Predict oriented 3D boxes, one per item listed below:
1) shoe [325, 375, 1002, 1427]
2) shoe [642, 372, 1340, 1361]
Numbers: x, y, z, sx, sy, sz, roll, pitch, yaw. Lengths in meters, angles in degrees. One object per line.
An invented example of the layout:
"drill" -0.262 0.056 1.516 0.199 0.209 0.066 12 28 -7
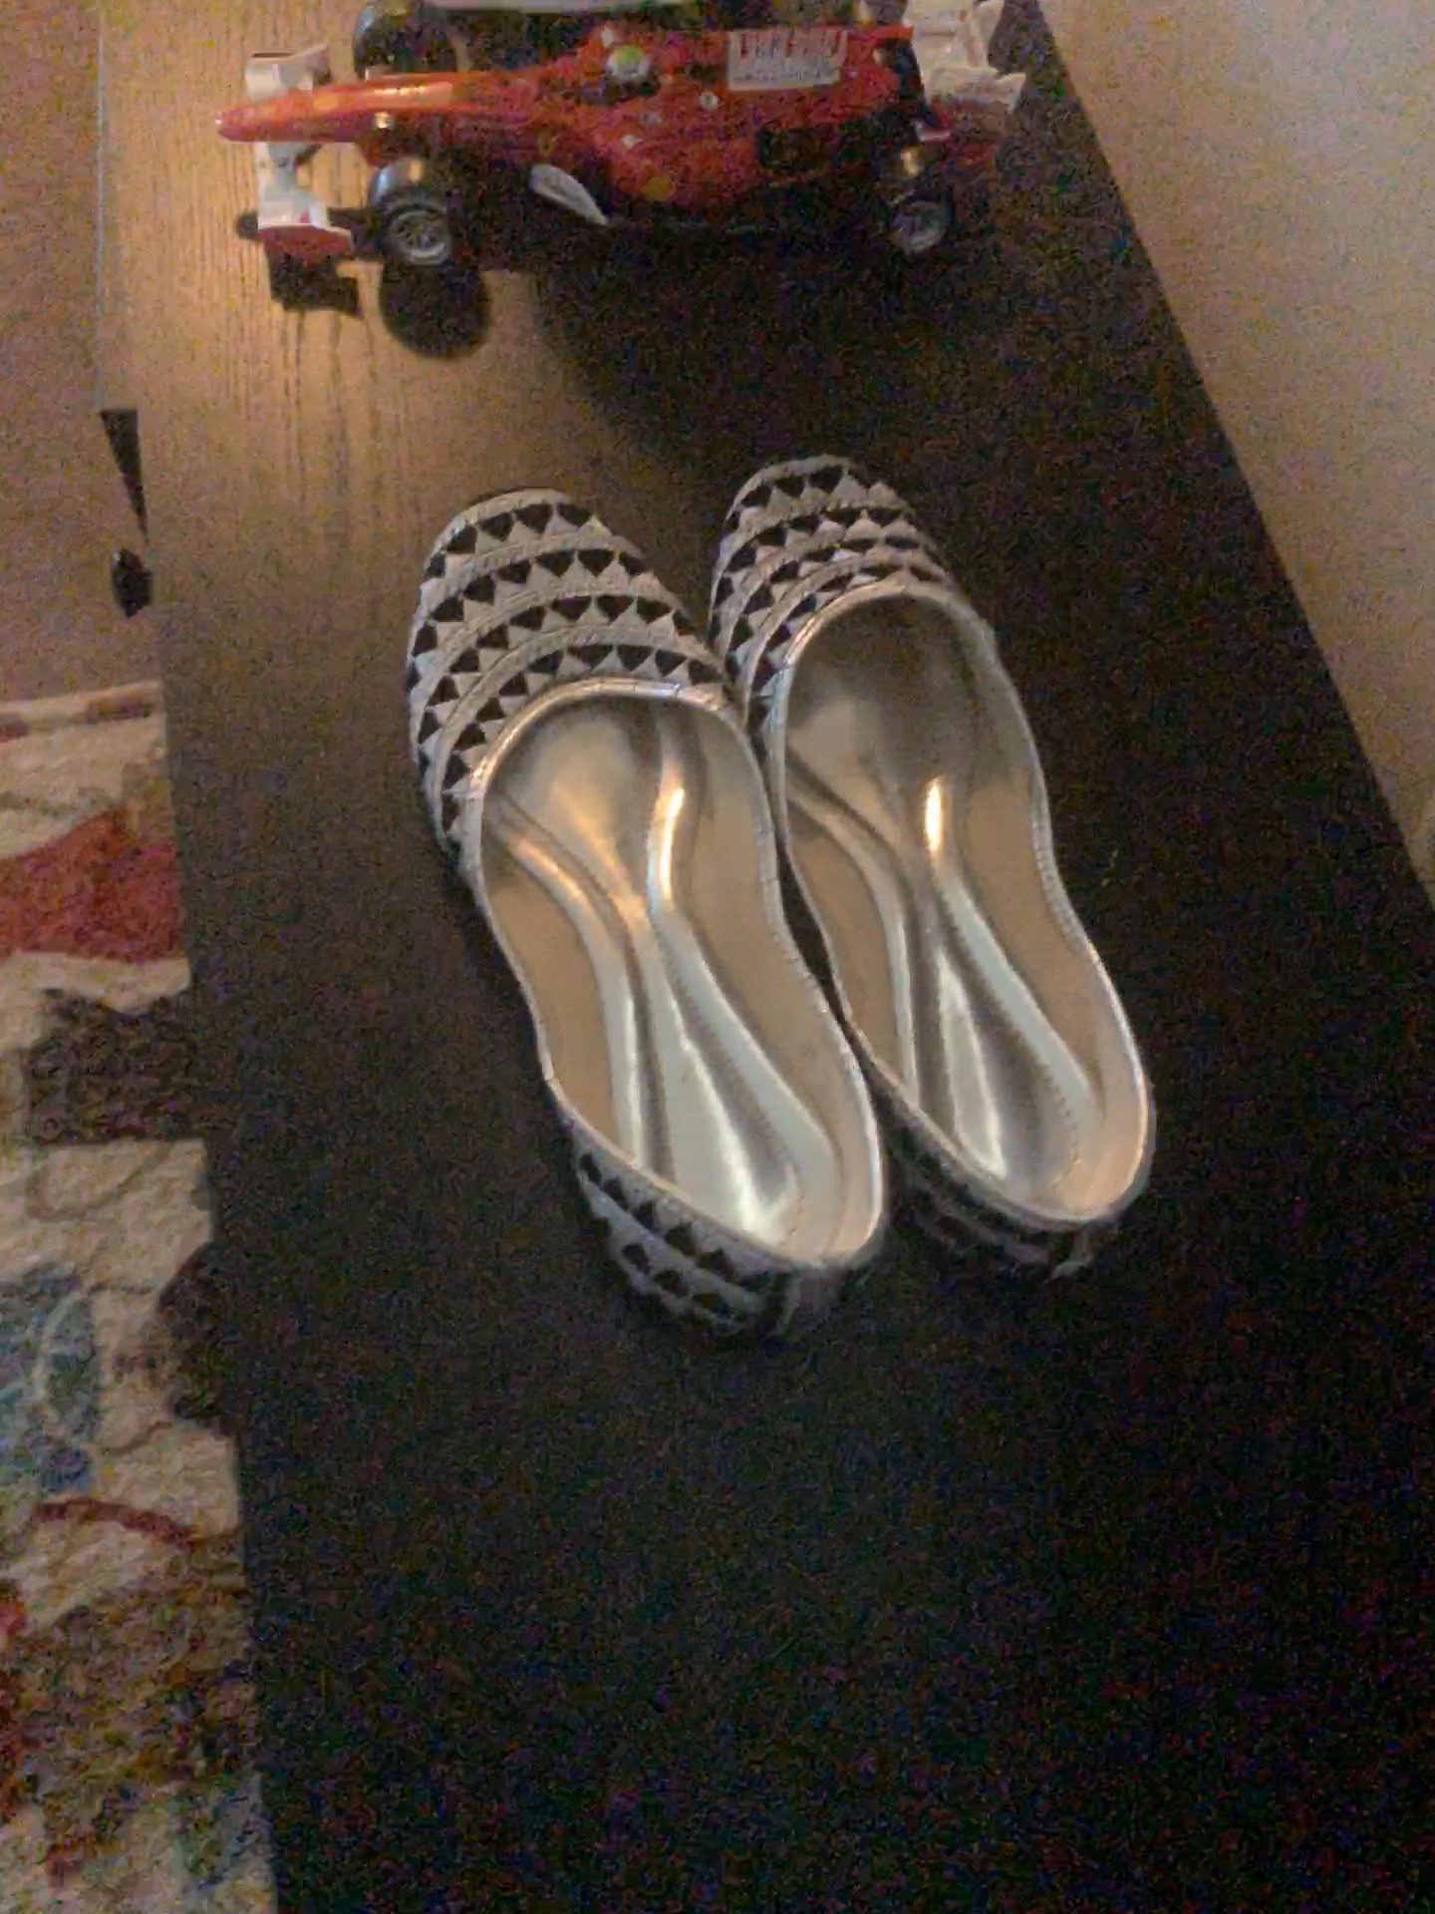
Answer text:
"shoe" -0.027 -0.025 0.404 0.095 0.070 0.271 -14 69 -15
"shoe" 0.063 -0.036 0.427 0.095 0.070 0.271 -12 69 -15
